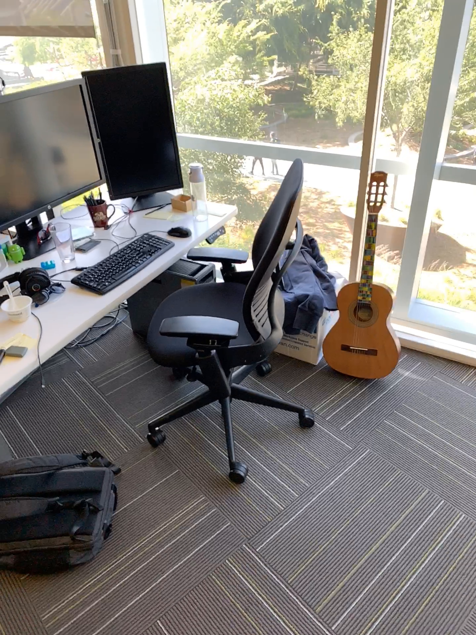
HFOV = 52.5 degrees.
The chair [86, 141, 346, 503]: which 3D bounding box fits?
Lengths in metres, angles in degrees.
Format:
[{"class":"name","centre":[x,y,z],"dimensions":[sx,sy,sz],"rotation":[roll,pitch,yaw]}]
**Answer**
[{"class":"chair","centre":[-0.031,0.039,1.913],"dimensions":[0.690,1.222,0.714],"rotation":[-1,34,2]}]
